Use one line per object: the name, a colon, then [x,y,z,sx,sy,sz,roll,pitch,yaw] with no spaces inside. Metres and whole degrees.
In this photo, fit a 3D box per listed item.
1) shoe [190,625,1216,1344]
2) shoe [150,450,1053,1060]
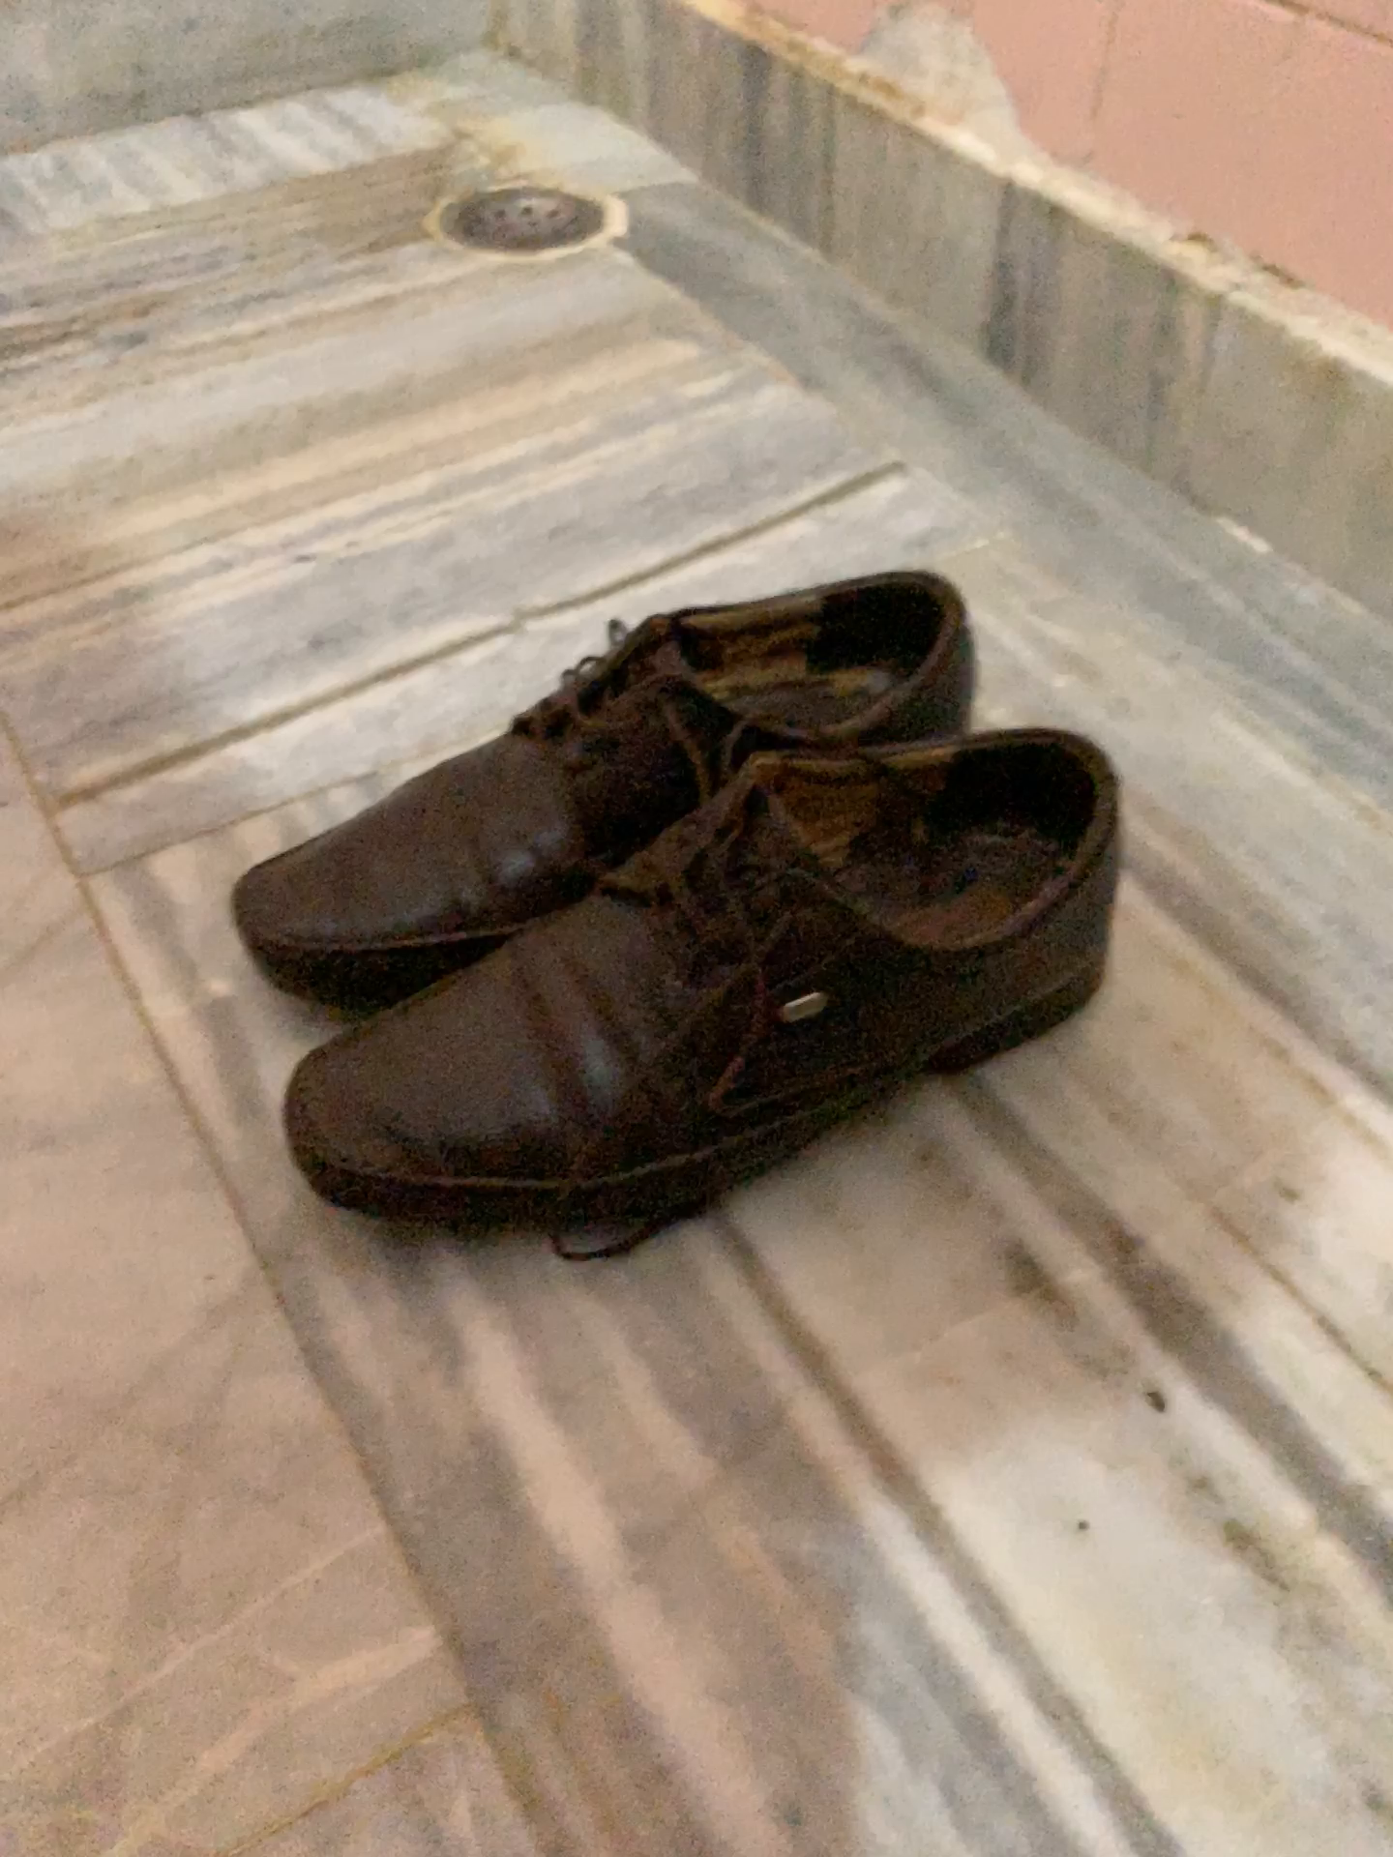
shoe: [0.005,0.011,0.462,0.282,0.110,0.100,-18,51,-17]
shoe: [-0.029,-0.069,0.522,0.282,0.110,0.100,-18,51,-17]
